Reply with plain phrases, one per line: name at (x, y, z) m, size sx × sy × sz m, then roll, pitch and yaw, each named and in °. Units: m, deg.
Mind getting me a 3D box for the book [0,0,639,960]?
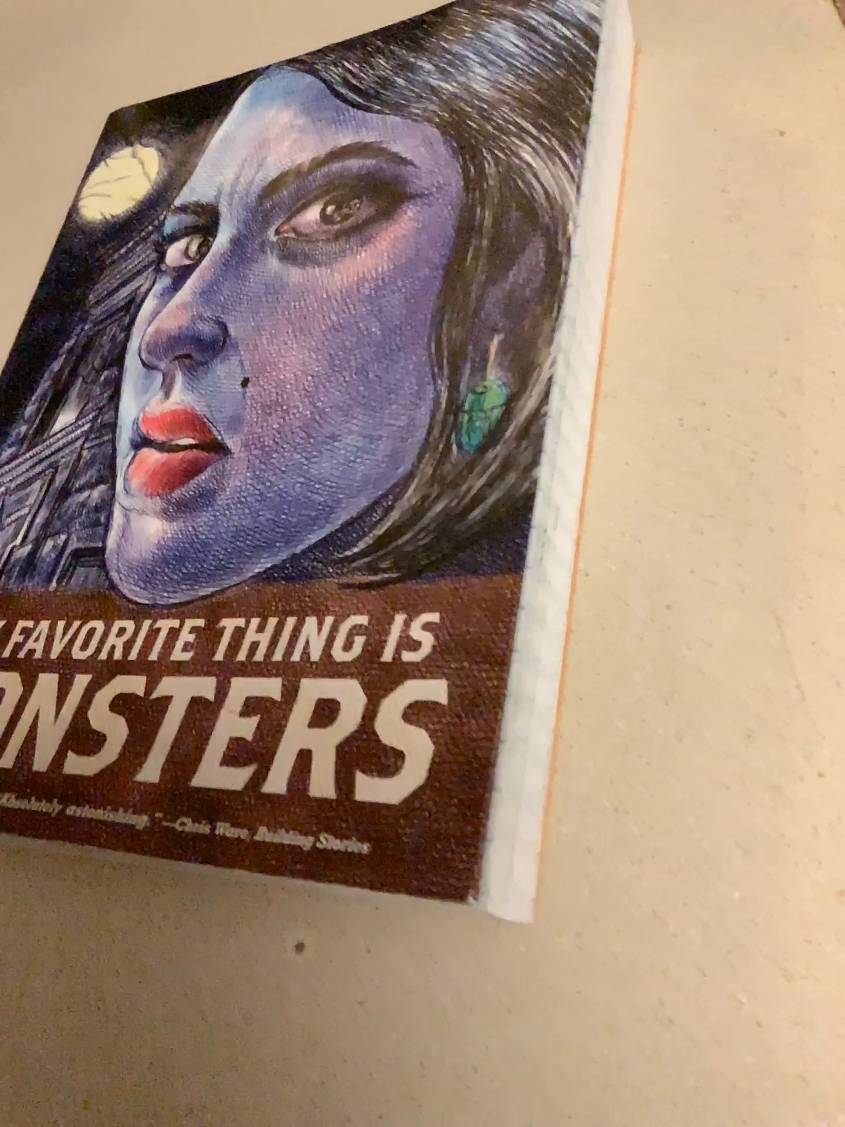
book at (-0.052, -0.049, 0.267) m, size 0.200 × 0.040 × 0.270 m, roll -3°, pitch 63°, yaw 26°
